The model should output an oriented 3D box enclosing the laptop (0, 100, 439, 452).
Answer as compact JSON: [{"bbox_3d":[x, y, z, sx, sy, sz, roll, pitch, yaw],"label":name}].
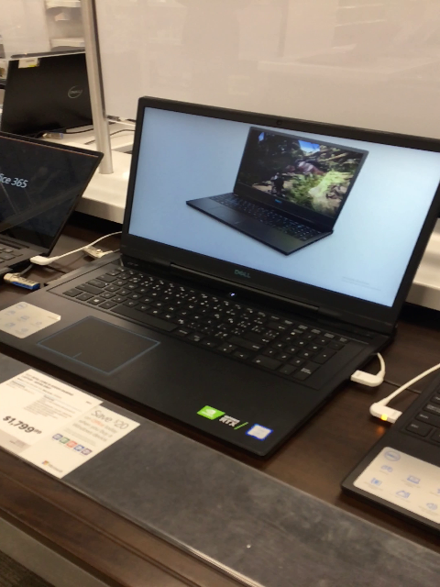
[{"bbox_3d":[-0.027,-0.057,0.648,0.413,0.225,0.316,20,38,28],"label":"laptop"}]
